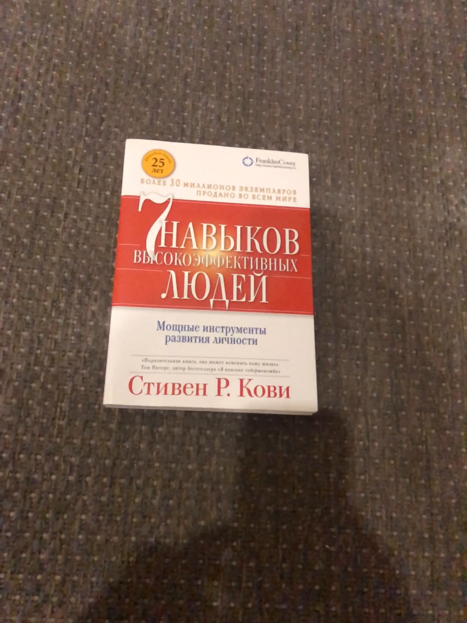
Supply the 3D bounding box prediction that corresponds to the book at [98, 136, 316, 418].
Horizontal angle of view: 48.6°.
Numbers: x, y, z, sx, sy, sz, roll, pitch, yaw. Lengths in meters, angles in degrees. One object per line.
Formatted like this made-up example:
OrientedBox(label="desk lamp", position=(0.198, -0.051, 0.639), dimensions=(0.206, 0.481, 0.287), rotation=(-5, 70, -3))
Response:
OrientedBox(label="book", position=(-0.016, -0.034, 0.438), dimensions=(0.166, 0.020, 0.236), rotation=(3, 72, -5))
